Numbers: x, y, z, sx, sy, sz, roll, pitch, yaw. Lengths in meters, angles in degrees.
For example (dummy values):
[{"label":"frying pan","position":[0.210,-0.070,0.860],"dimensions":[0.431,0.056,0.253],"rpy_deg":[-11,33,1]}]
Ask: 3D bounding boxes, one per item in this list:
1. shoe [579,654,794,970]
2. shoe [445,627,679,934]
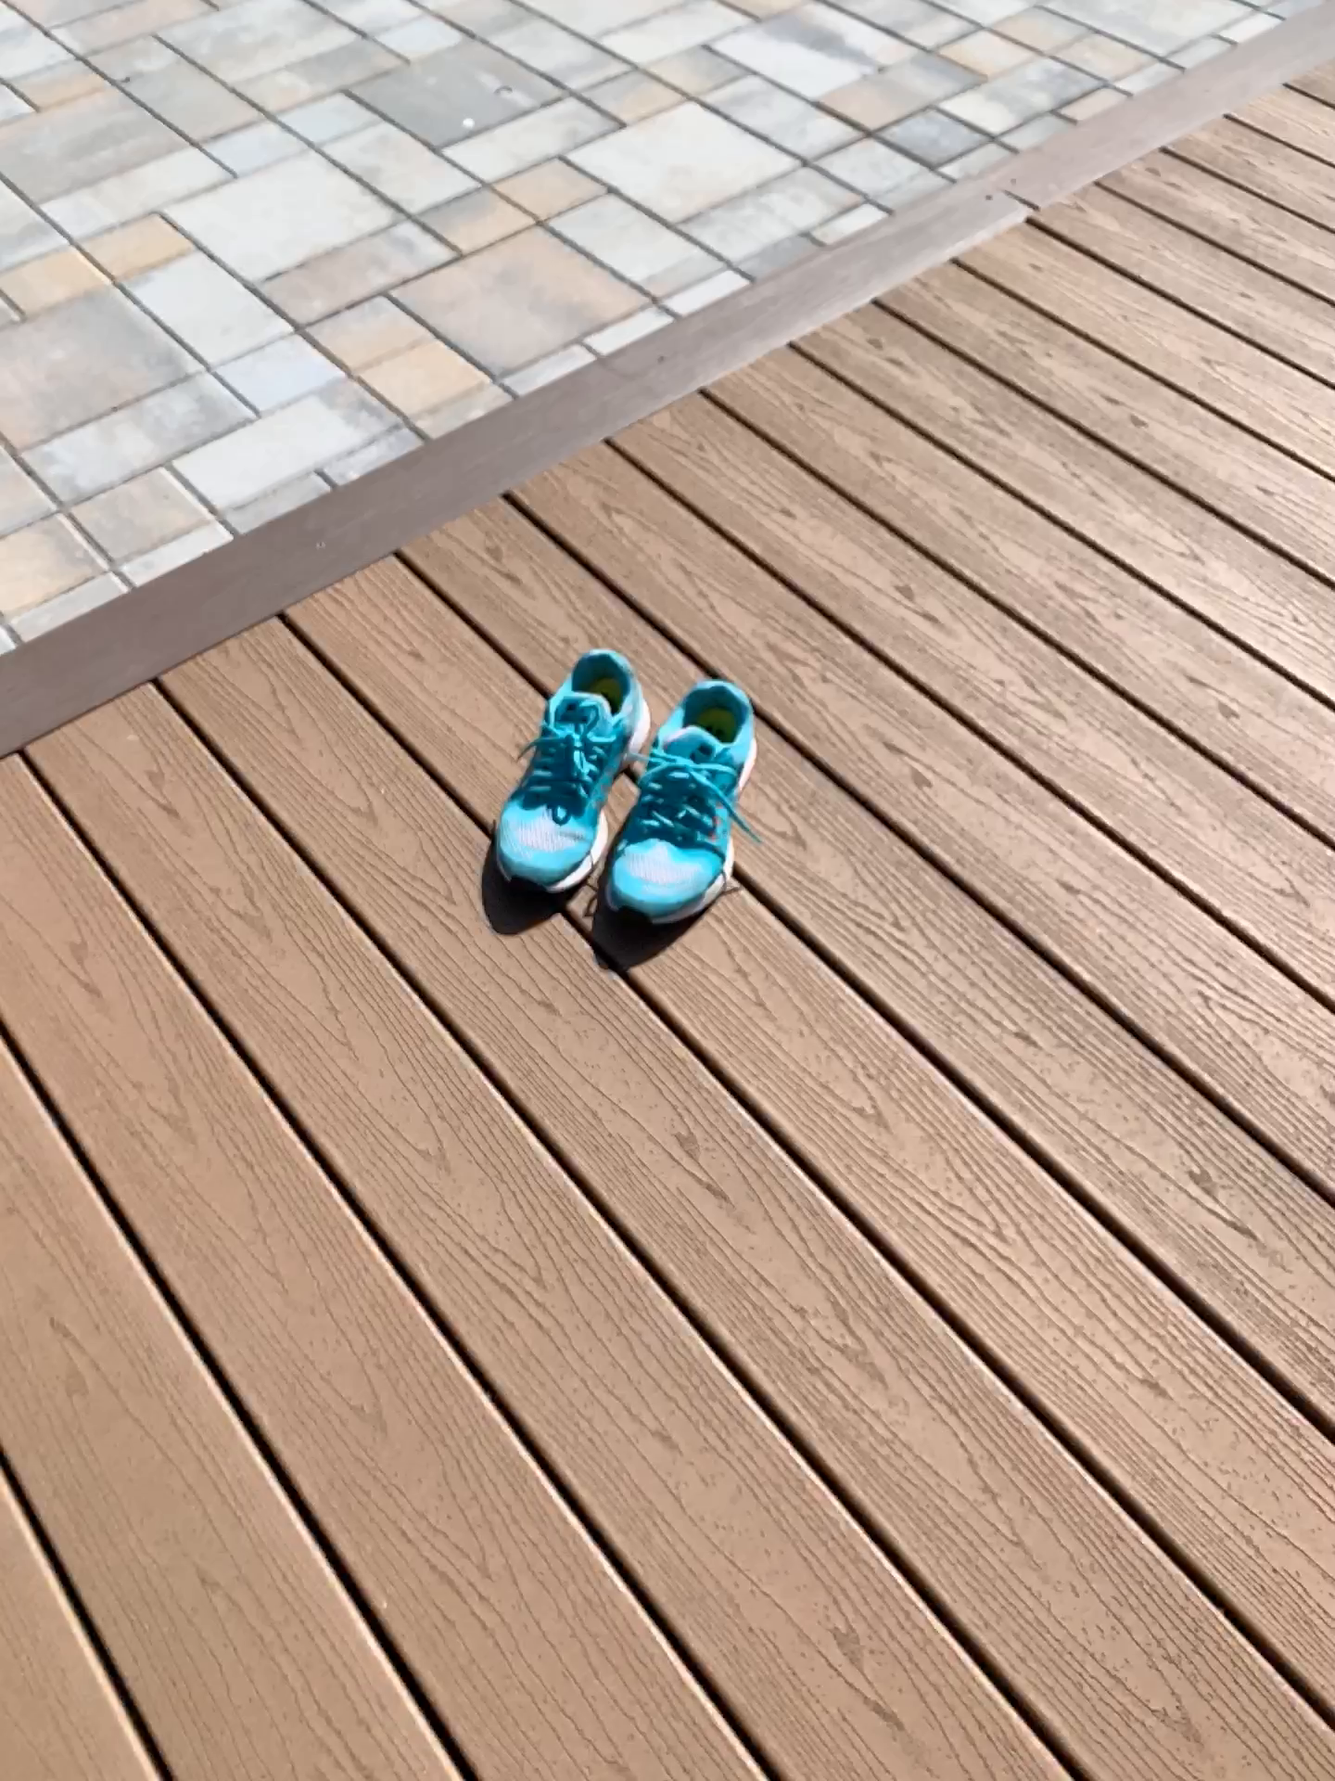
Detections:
[{"label":"shoe","position":[0.021,-0.073,1.180],"dimensions":[0.110,0.080,0.261],"rpy_deg":[14,56,10]},{"label":"shoe","position":[-0.085,-0.102,1.210],"dimensions":[0.110,0.080,0.260],"rpy_deg":[16,57,12]}]
